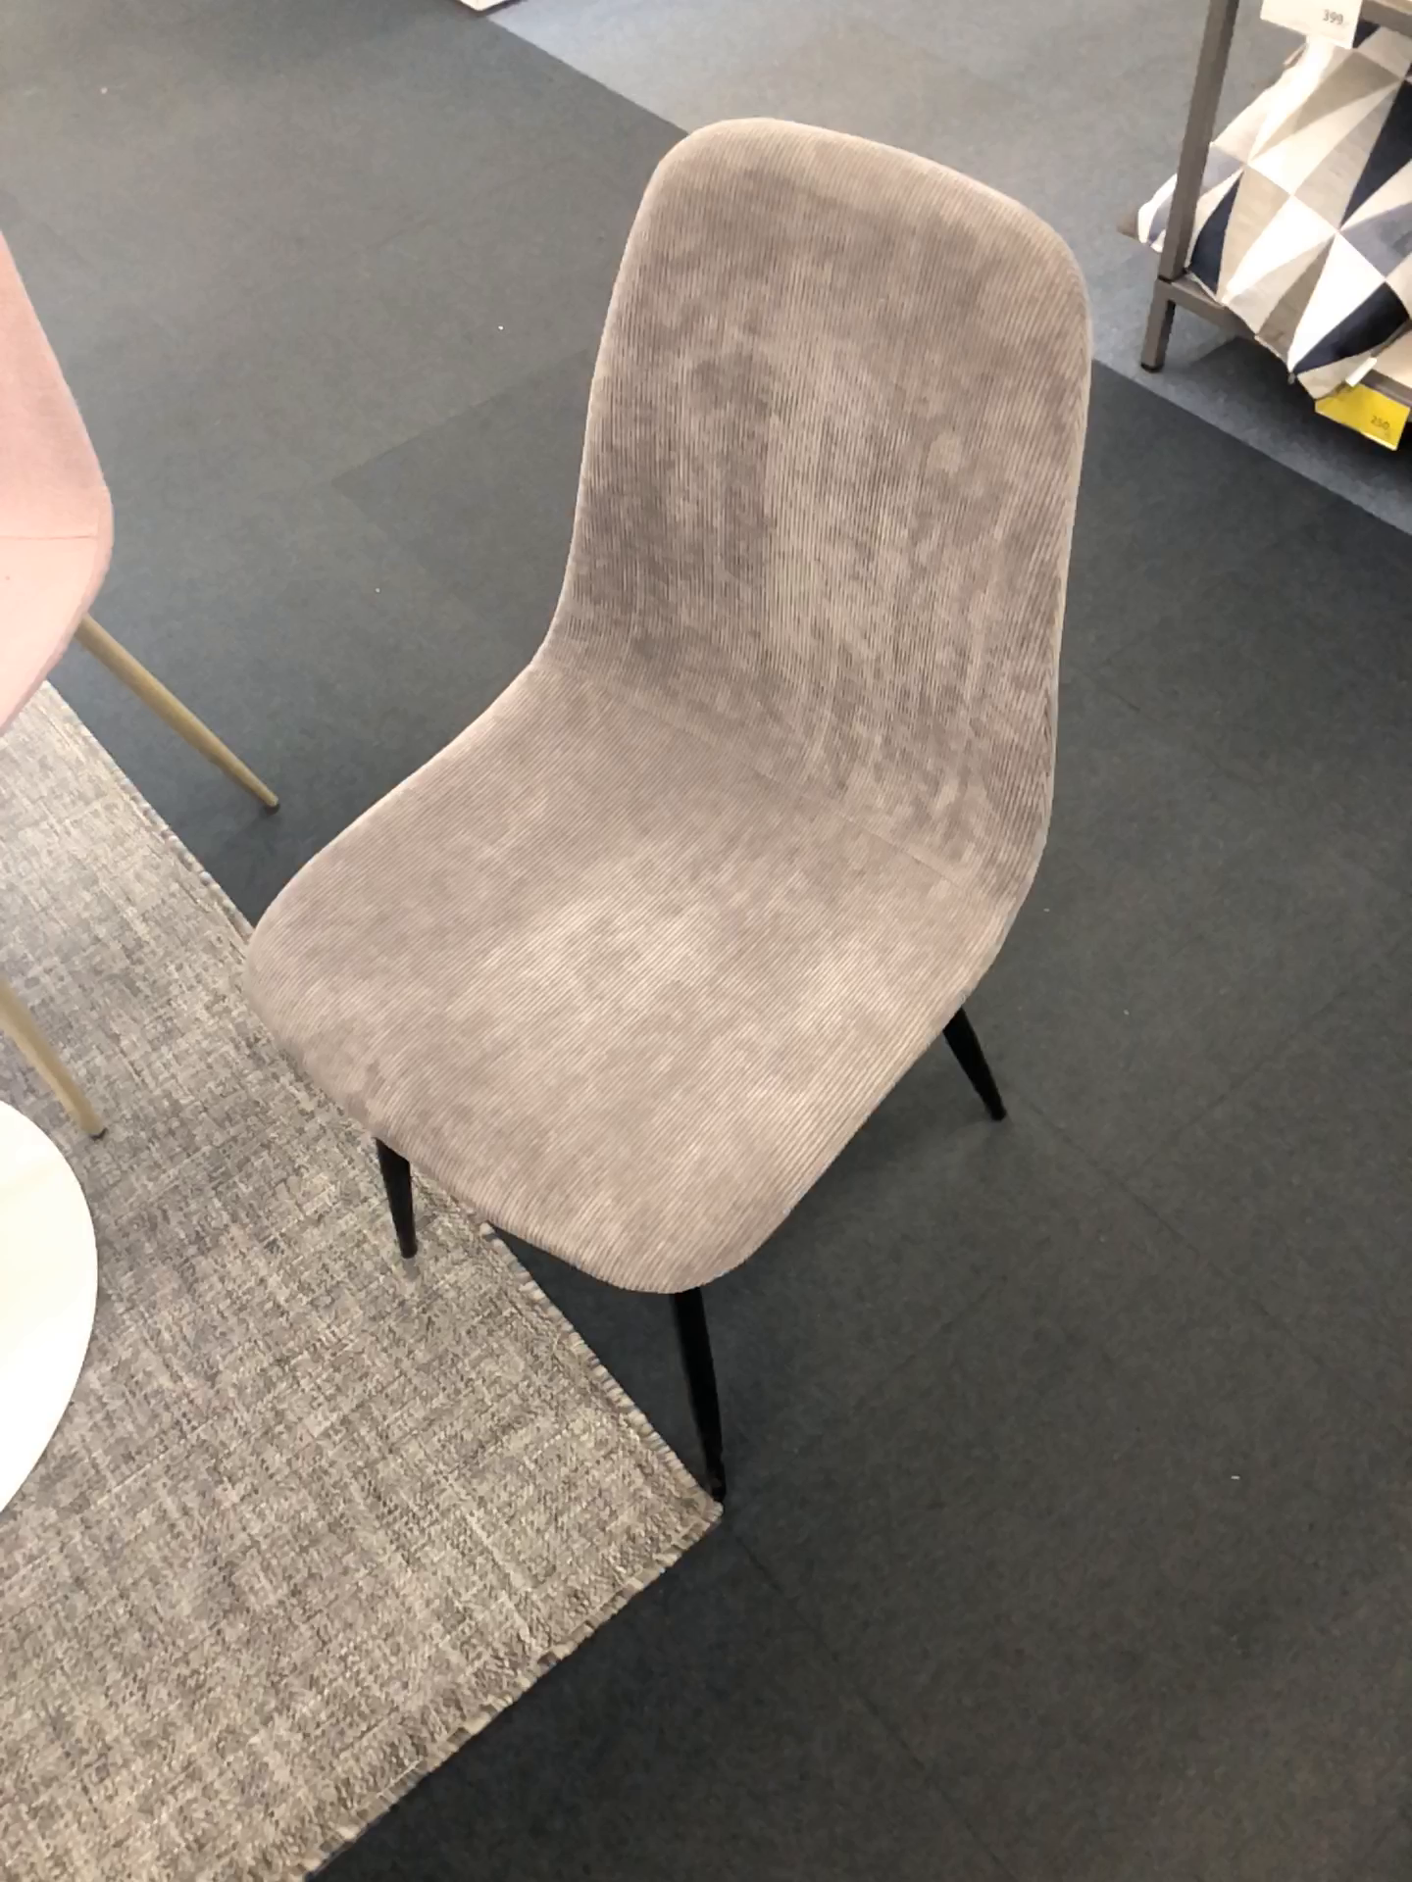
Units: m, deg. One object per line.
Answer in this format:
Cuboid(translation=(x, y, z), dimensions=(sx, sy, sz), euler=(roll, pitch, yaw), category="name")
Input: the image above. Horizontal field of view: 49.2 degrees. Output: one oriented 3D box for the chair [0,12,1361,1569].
Cuboid(translation=(-0.041, -0.070, 1.141), dimensions=(0.581, 0.808, 0.581), euler=(33, 62, 24), category="chair")
